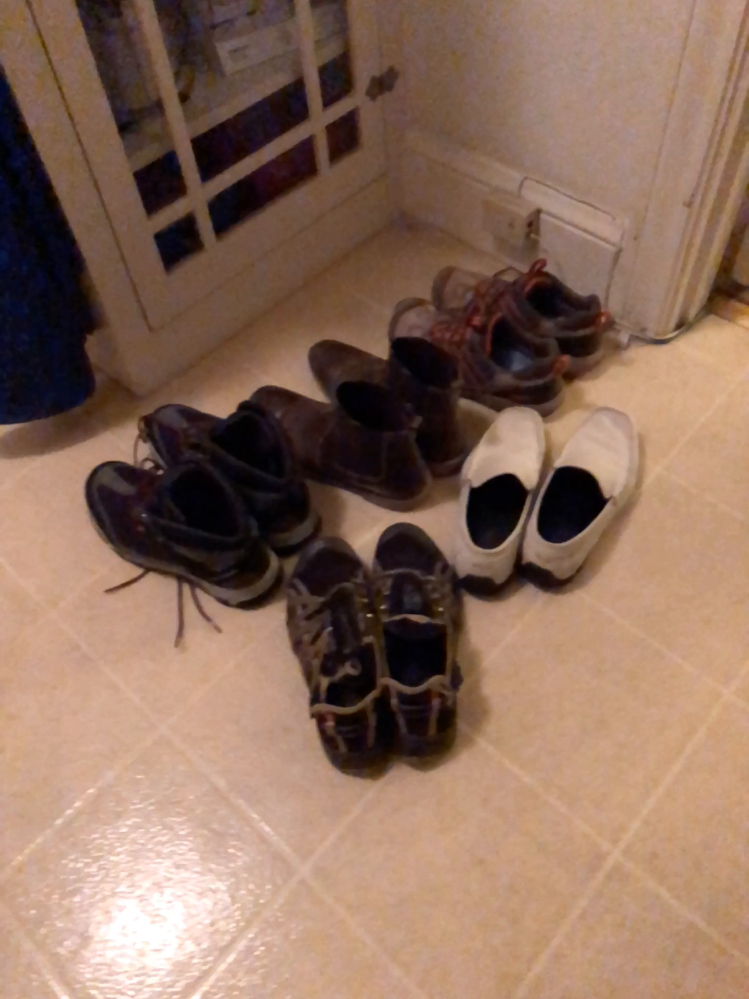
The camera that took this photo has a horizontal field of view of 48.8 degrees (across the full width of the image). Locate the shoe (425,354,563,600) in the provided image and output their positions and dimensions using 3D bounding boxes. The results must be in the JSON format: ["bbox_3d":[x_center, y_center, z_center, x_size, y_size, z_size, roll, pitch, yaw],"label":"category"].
[{"bbox_3d":[0.160,-0.037,1.084,0.110,0.113,0.304,12,55,13],"label":"shoe"}]

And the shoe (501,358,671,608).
[{"bbox_3d":[0.276,-0.029,1.071,0.110,0.113,0.304,20,57,18],"label":"shoe"}]

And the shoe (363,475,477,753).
[{"bbox_3d":[0.048,0.128,0.967,0.110,0.123,0.295,-3,53,2],"label":"shoe"}]

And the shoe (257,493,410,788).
[{"bbox_3d":[-0.050,0.155,0.951,0.110,0.123,0.294,-13,53,-5],"label":"shoe"}]

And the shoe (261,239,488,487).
[{"bbox_3d":[-0.001,-0.197,1.173,0.110,0.192,0.324,-38,60,-22],"label":"shoe"}]

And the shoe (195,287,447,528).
[{"bbox_3d":[-0.068,-0.127,1.128,0.324,0.192,0.110,28,60,23],"label":"shoe"}]

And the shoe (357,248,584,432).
[{"bbox_3d":[0.133,-0.239,1.211,0.314,0.113,0.110,32,62,25],"label":"shoe"}]

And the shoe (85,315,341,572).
[{"bbox_3d":[-0.210,-0.077,1.098,0.324,0.192,0.110,33,62,25],"label":"shoe"}]

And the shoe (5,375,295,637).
[{"bbox_3d":[-0.274,0.007,1.032,0.324,0.192,0.110,27,60,22],"label":"shoe"}]

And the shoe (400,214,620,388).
[{"bbox_3d":[0.198,-0.309,1.265,0.314,0.113,0.110,32,62,25],"label":"shoe"}]
